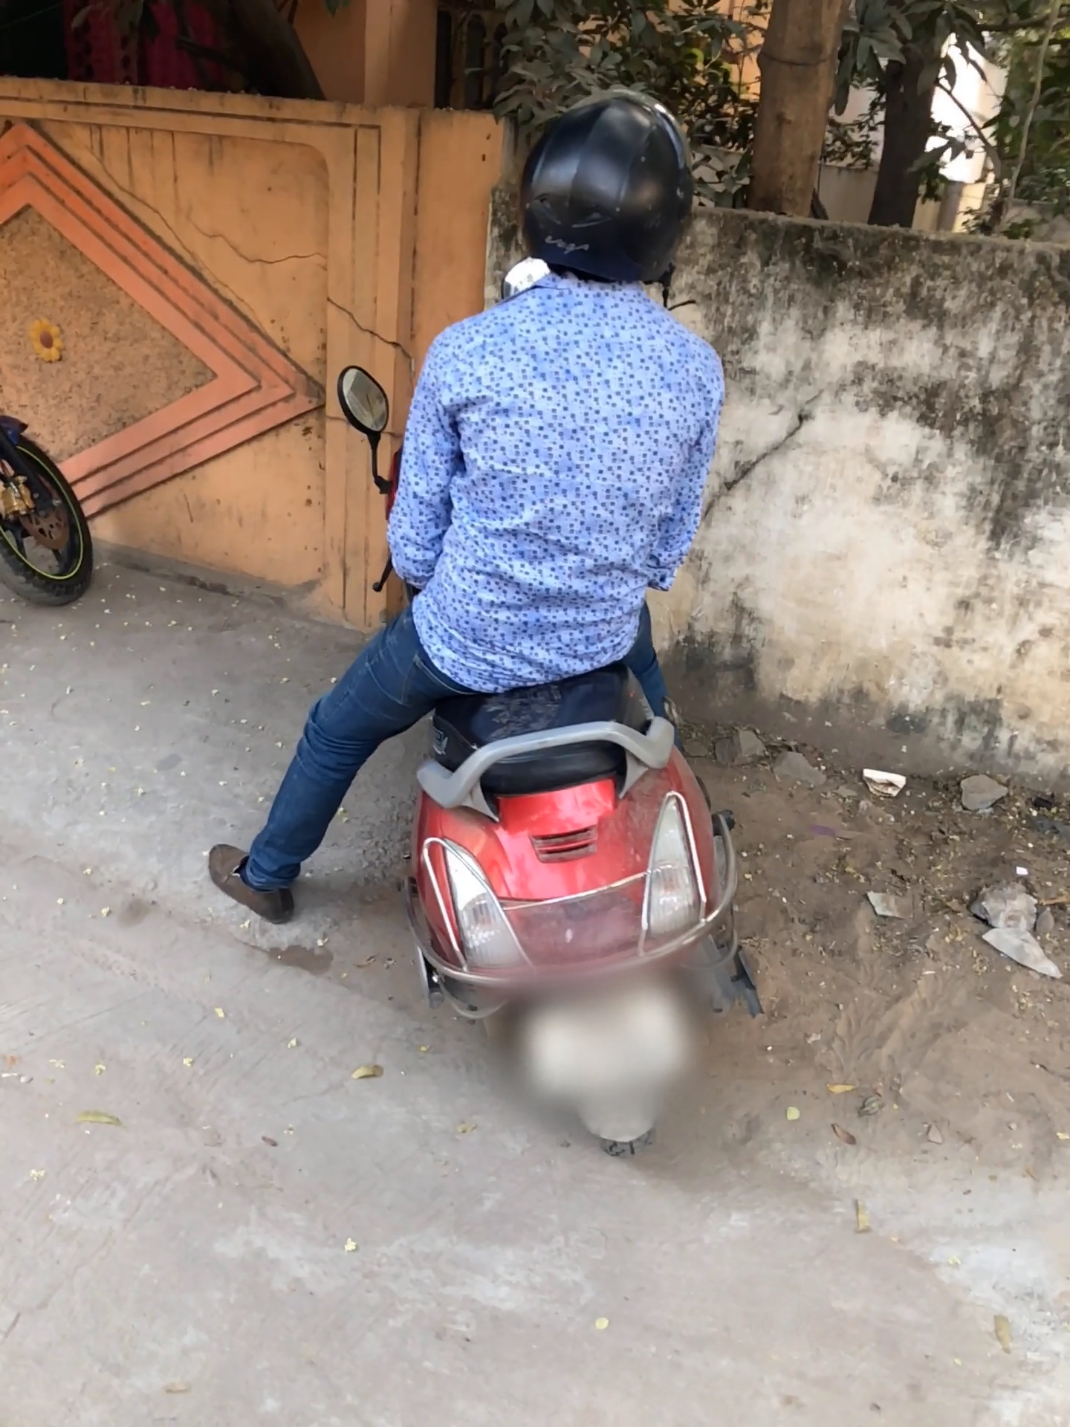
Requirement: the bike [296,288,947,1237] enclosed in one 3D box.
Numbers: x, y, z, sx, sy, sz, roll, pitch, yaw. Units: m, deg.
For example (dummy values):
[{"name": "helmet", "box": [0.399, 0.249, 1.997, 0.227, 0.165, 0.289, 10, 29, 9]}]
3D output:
[{"name": "bike", "box": [-0.055, -0.060, 2.316, 0.722, 1.165, 1.509, -1, 28, -14]}]
